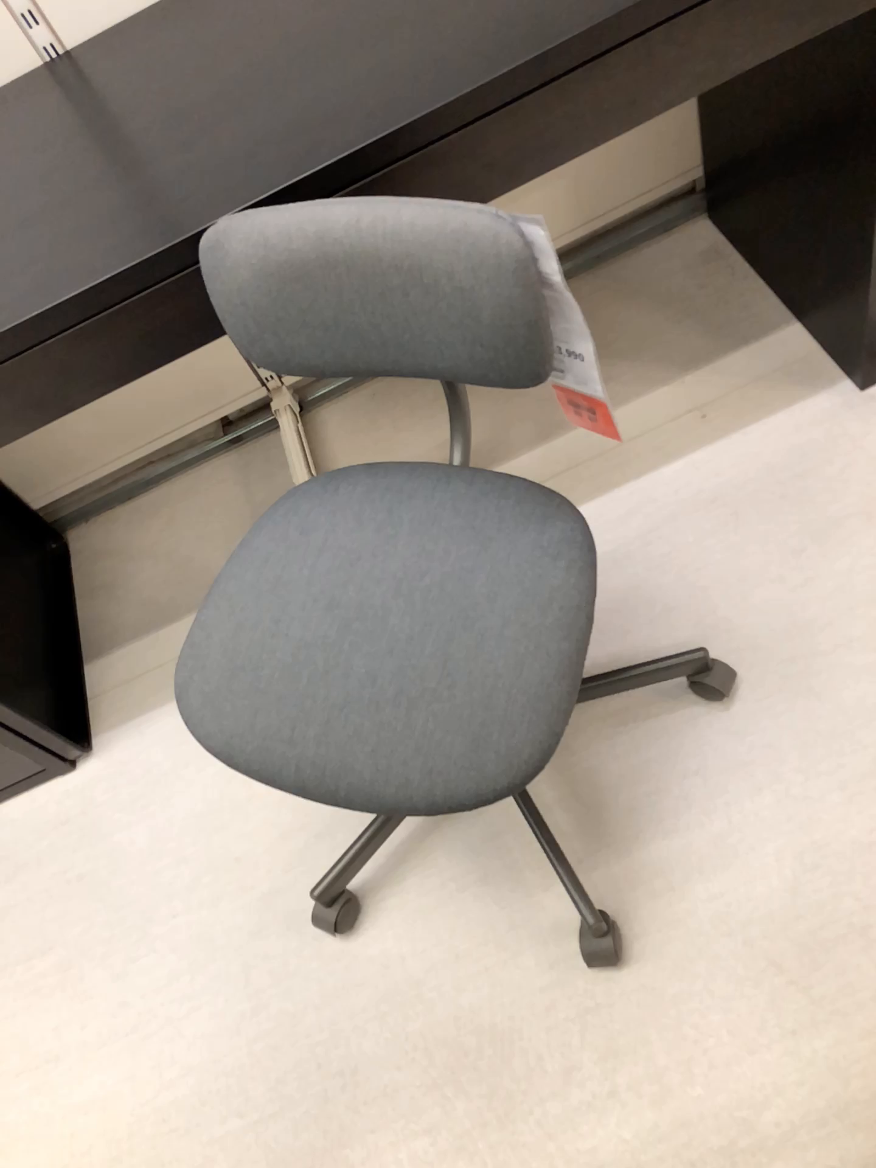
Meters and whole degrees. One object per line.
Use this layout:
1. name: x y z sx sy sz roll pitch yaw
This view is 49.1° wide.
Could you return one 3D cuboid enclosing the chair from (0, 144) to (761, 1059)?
1. chair: -0.043 0.046 1.011 0.621 0.677 0.592 8 63 25
